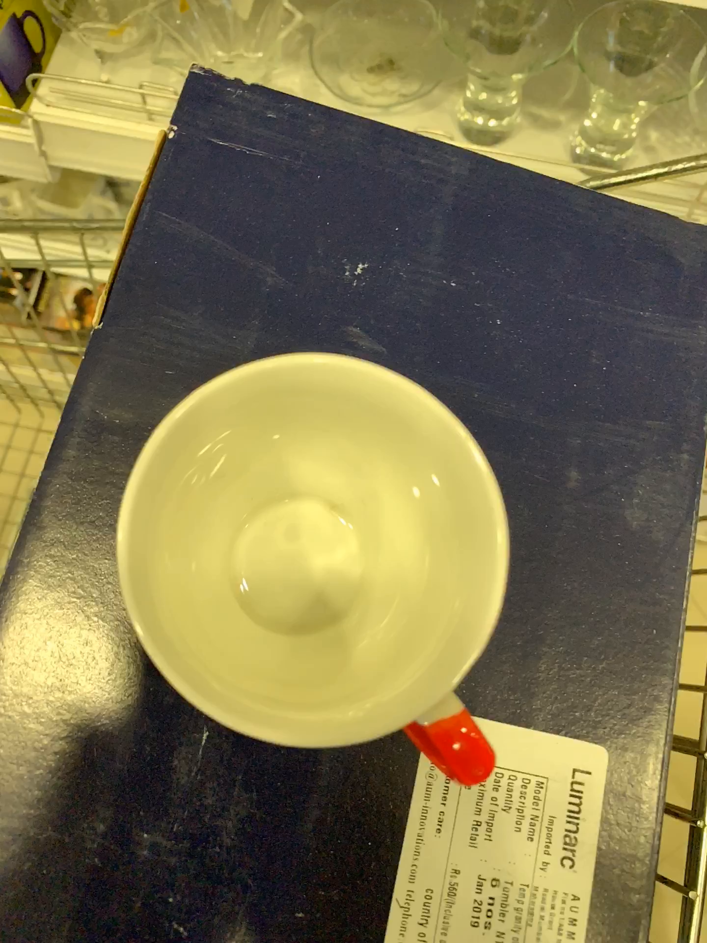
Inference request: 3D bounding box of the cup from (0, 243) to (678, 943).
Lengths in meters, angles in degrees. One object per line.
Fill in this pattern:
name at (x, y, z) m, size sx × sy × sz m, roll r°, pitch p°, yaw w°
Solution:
cup at (-0.007, 0.022, 0.146) m, size 0.100 × 0.050 × 0.070 m, roll 42°, pitch 79°, yaw 3°
